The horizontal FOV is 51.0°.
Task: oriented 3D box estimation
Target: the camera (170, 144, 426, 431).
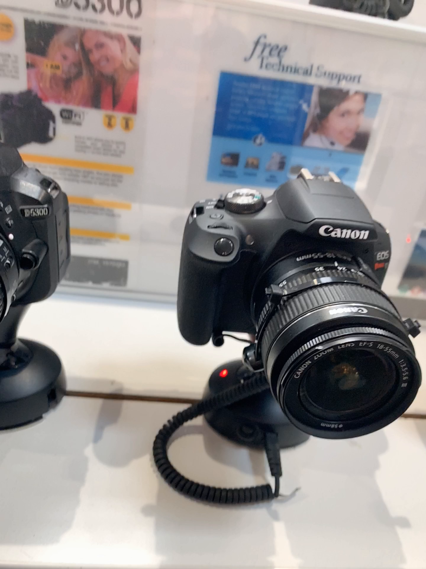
[{"bbox_3d":[0.044,-0.002,0.243,0.122,0.104,0.110,5,30,-9],"label":"camera"}]
